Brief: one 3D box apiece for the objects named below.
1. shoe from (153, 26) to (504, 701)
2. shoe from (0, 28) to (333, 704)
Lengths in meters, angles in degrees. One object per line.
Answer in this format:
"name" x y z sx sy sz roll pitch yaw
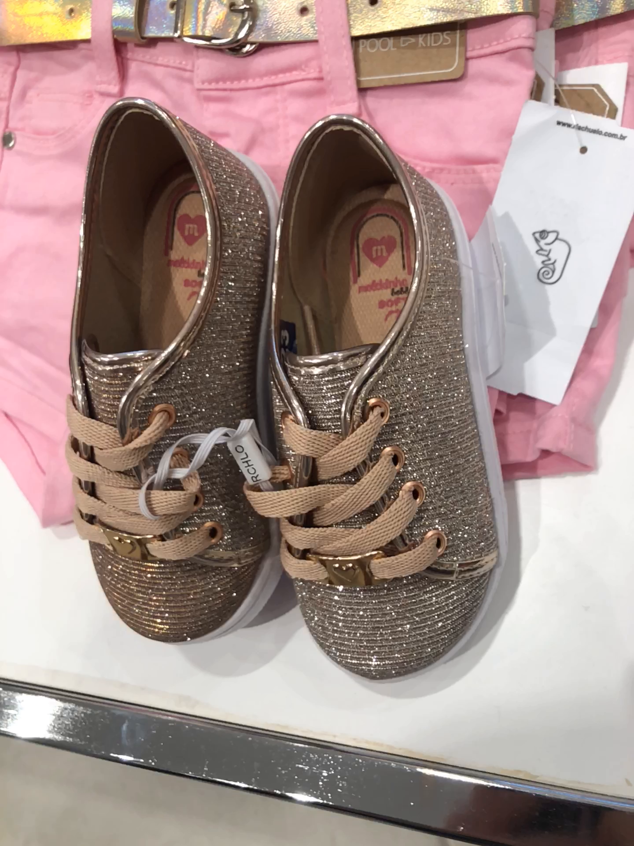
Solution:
"shoe" 0.005 -0.011 0.223 0.080 0.080 0.170 -7 78 19
"shoe" -0.046 -0.016 0.230 0.070 0.080 0.170 4 92 22
